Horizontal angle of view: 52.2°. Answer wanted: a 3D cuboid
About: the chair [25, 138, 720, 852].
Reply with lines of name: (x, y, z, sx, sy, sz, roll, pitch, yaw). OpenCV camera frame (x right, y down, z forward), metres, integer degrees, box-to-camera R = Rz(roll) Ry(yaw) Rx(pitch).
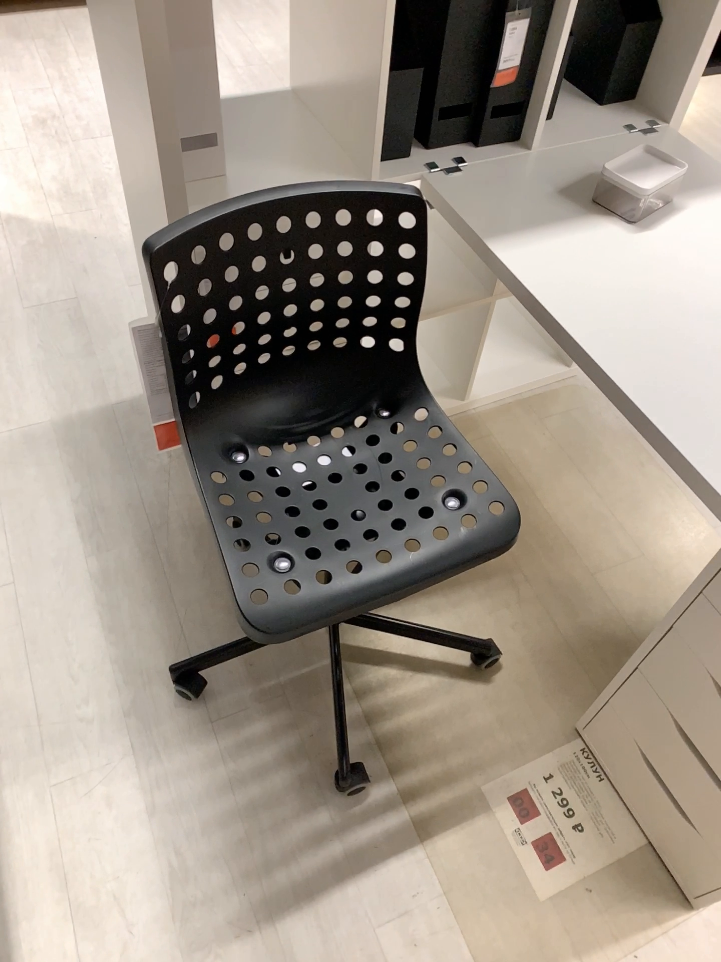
chair: (-0.061, 0.042, 1.314, 0.681, 0.867, 0.752, -17, 55, -17)
